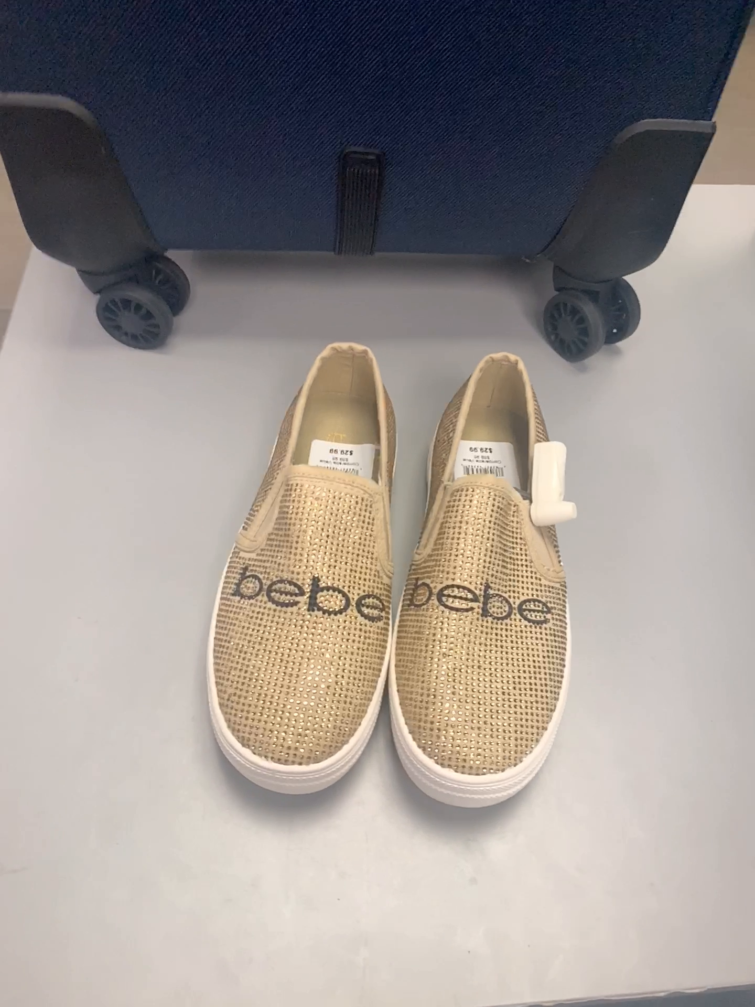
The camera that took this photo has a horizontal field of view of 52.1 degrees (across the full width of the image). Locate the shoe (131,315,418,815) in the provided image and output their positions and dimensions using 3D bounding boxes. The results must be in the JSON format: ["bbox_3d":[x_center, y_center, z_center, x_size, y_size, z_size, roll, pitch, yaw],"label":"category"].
[{"bbox_3d":[-0.036,0.020,0.377,0.093,0.086,0.223,5,54,0],"label":"shoe"}]

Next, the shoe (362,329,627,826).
[{"bbox_3d":[0.050,0.027,0.381,0.093,0.086,0.223,5,54,0],"label":"shoe"}]
